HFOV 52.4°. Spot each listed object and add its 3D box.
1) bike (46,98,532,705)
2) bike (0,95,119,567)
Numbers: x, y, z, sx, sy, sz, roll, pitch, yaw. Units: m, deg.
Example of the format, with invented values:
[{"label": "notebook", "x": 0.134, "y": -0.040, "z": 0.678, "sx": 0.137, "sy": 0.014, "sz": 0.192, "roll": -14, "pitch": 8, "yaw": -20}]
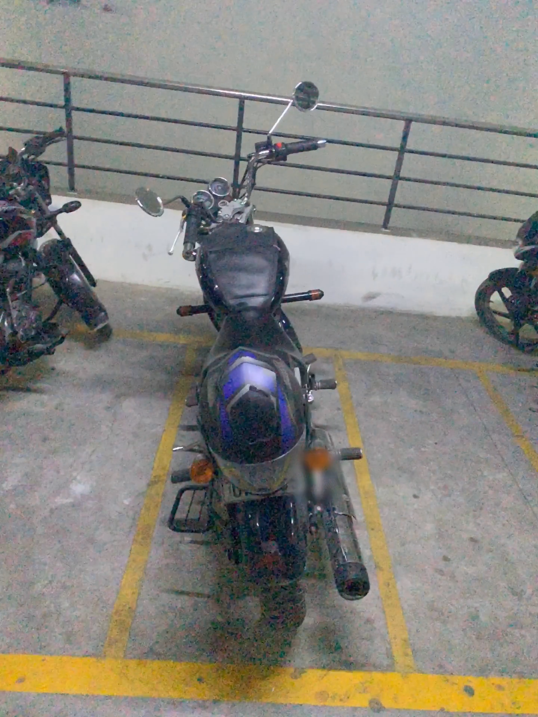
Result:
[{"label": "bike", "x": -0.201, "y": -0.048, "z": 1.930, "sx": 0.842, "sy": 1.303, "sz": 1.674, "roll": 0, "pitch": 31, "yaw": -14}, {"label": "bike", "x": -1.227, "y": -0.281, "z": 2.155, "sx": 0.593, "sy": 1.192, "sz": 1.510, "roll": 13, "pitch": 30, "yaw": 9}]
